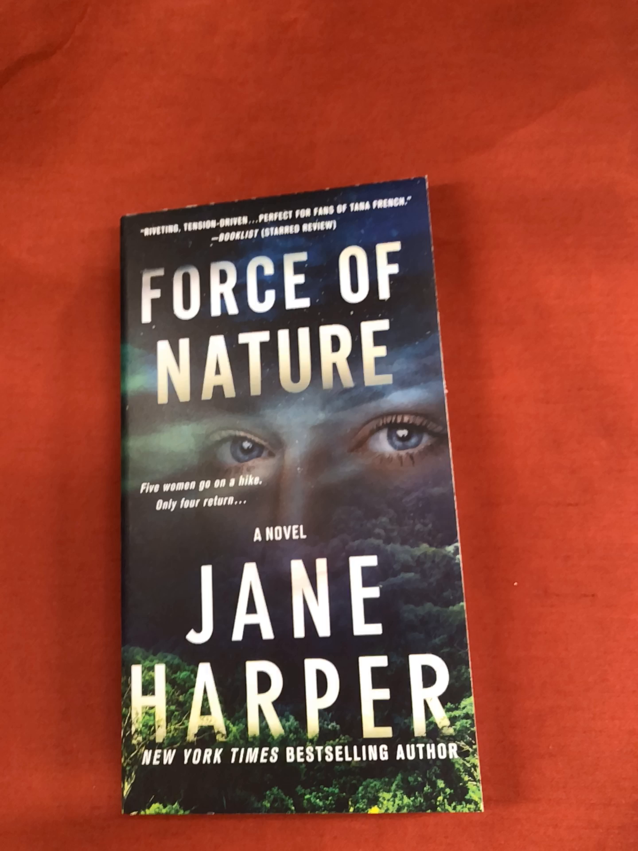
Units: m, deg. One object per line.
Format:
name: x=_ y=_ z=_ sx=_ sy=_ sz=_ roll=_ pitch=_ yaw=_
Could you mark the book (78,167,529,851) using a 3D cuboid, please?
book: x=-0.006 y=0.025 z=0.221 sx=0.110 sy=0.050 sz=0.180 roll=-6 pitch=85 yaw=7
